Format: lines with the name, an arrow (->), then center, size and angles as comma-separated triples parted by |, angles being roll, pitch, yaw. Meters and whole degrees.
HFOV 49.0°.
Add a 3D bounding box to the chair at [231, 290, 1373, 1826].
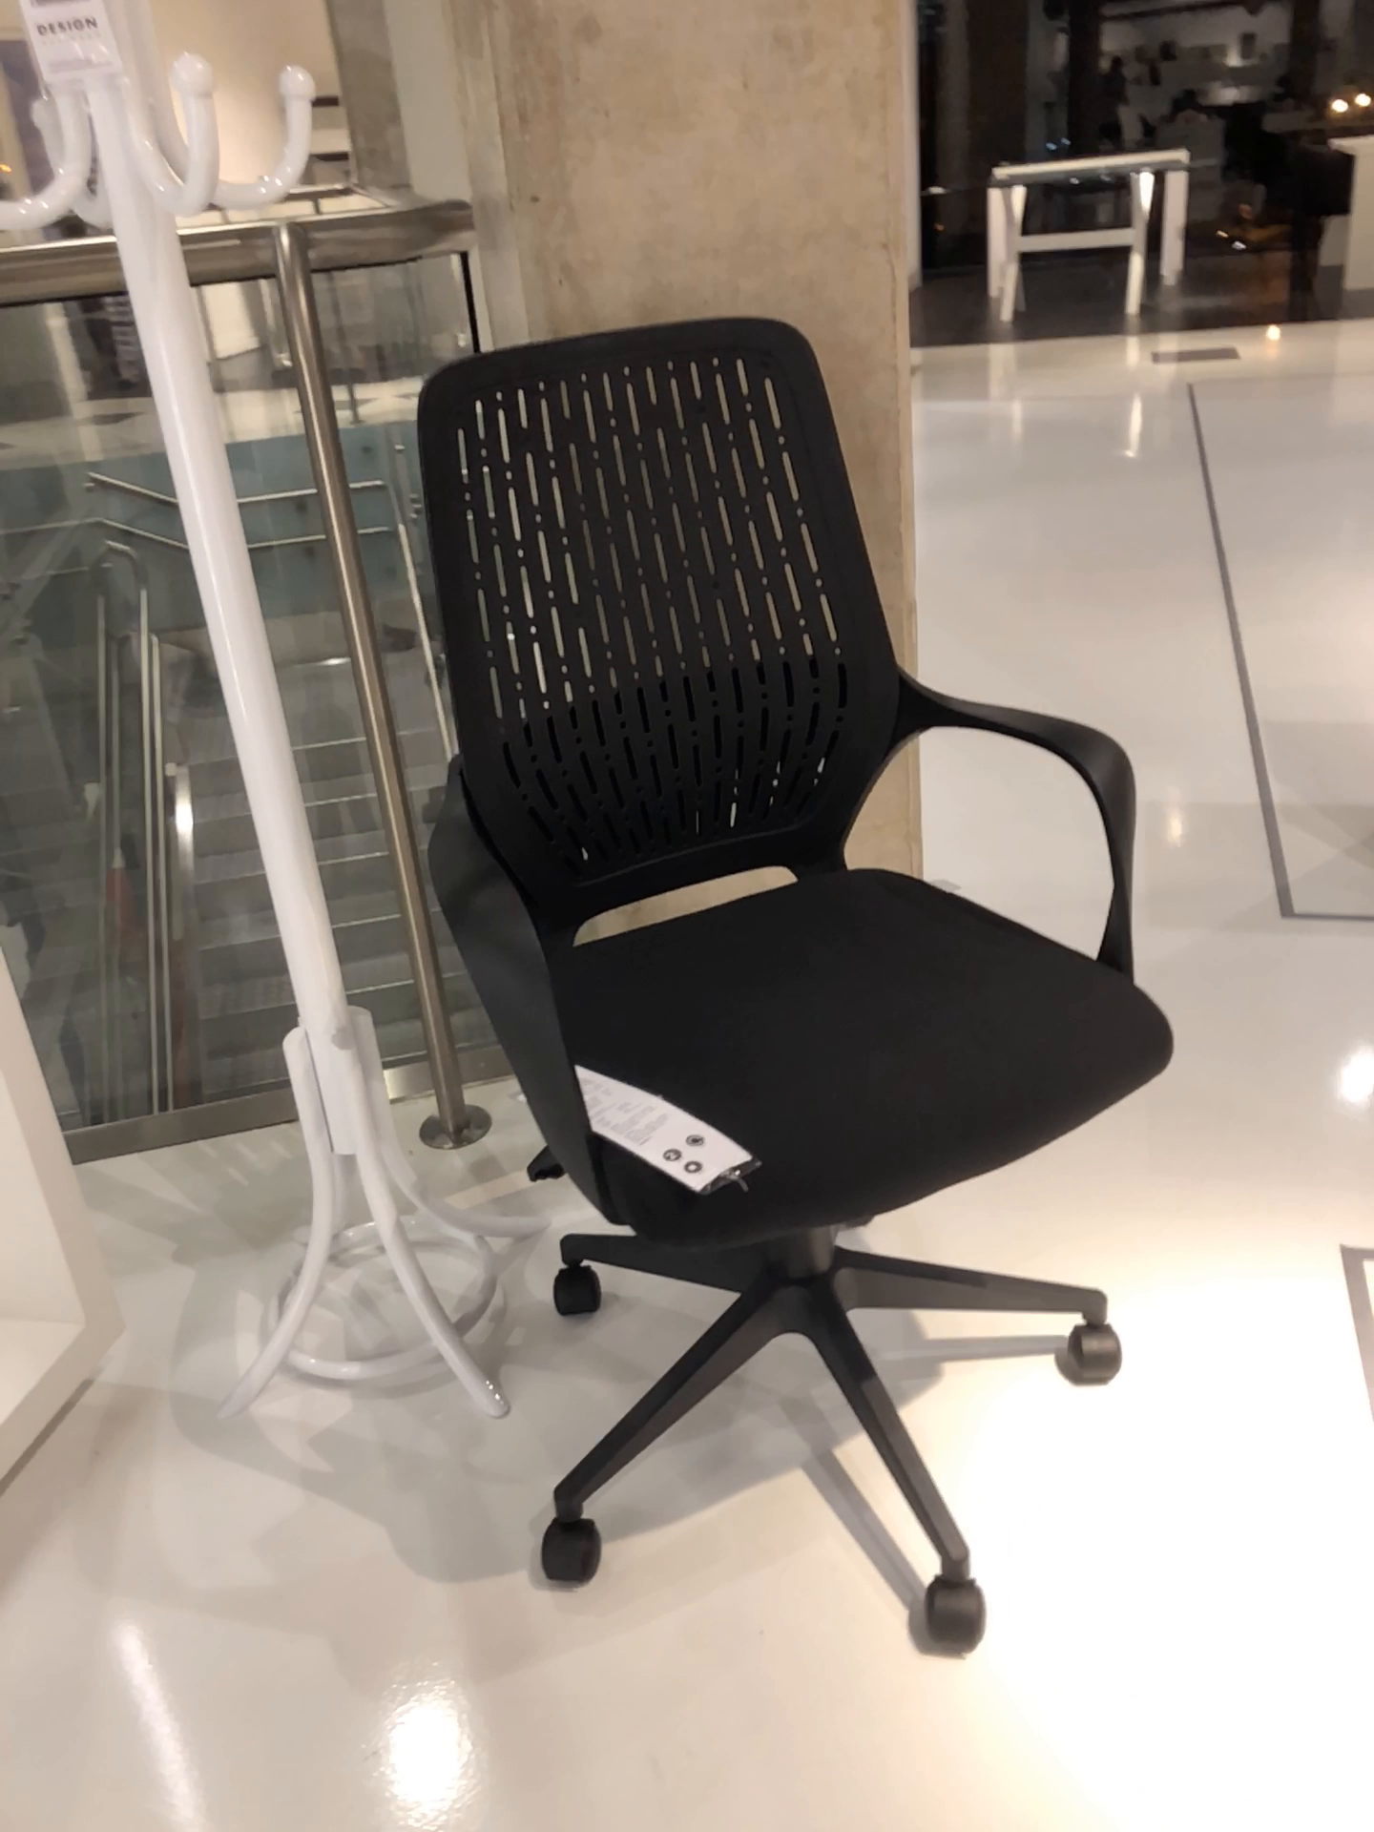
chair -> 0.073, 0.044, 1.351 | 0.641, 1.022, 0.705 | -15, 28, -17
